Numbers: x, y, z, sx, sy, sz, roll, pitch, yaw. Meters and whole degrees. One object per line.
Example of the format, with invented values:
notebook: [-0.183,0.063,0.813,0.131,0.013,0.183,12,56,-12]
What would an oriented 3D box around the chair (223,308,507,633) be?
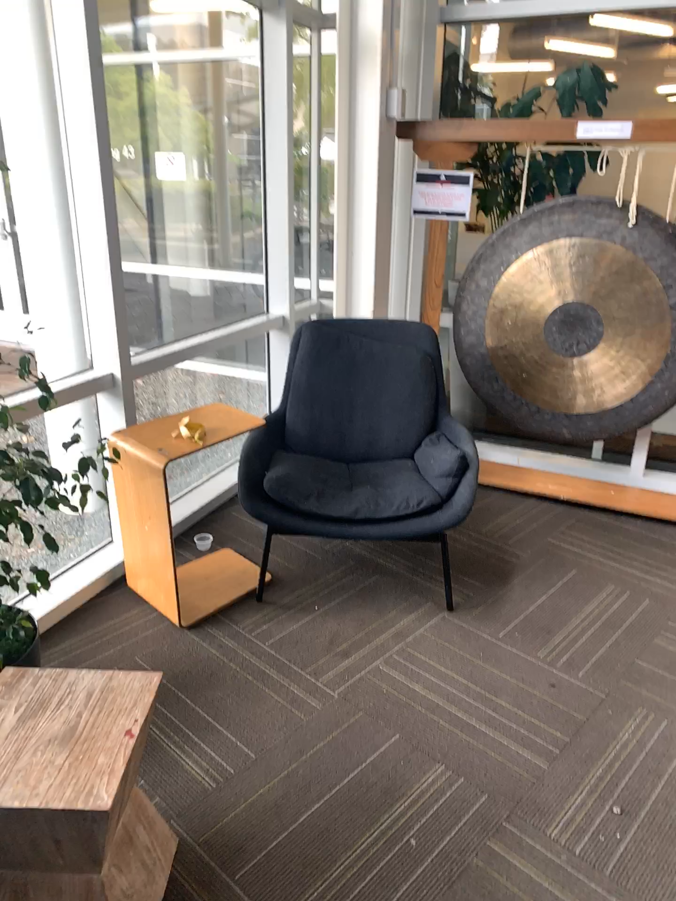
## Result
chair: [0.092,0.016,2.796,0.900,0.995,0.945,2,21,2]
